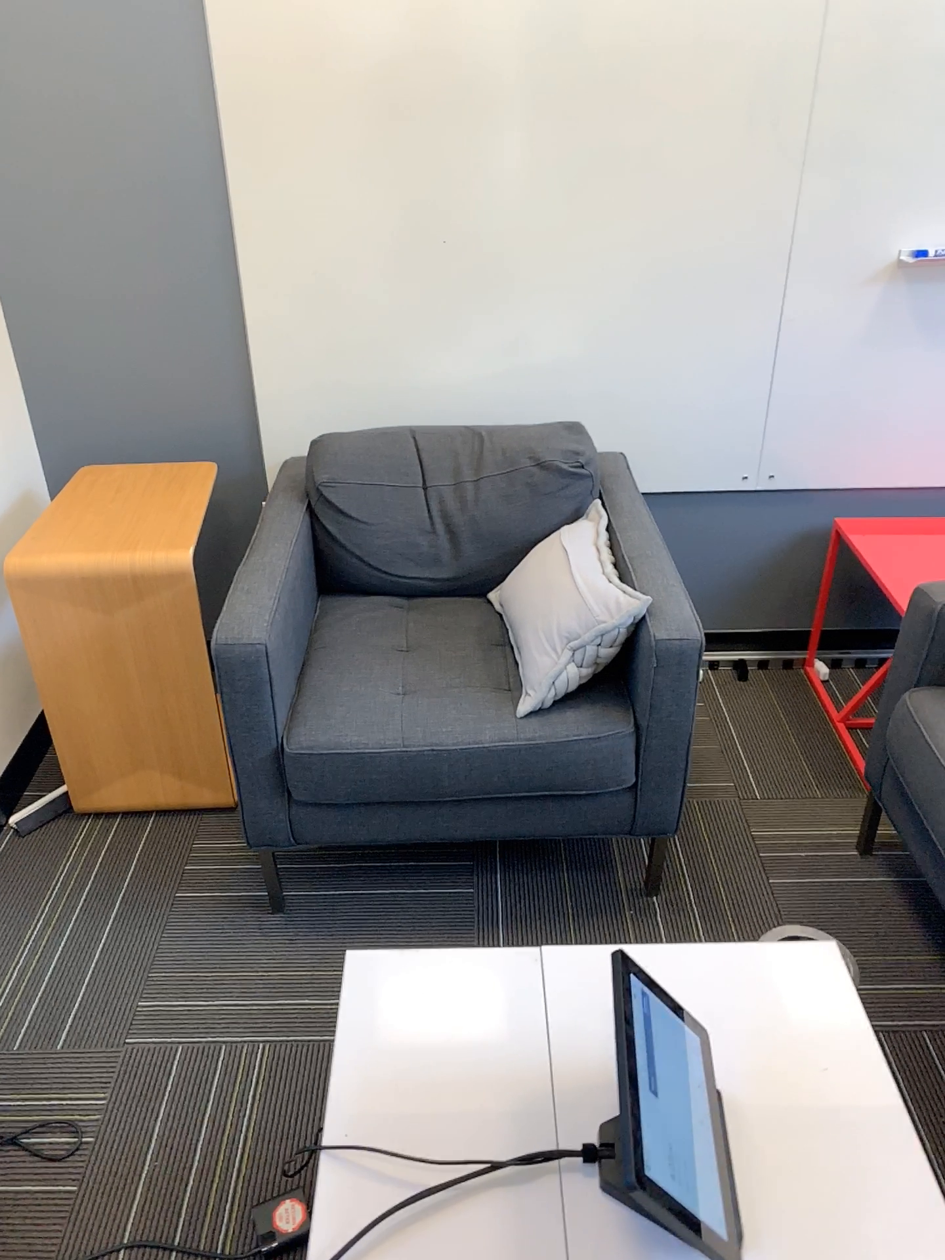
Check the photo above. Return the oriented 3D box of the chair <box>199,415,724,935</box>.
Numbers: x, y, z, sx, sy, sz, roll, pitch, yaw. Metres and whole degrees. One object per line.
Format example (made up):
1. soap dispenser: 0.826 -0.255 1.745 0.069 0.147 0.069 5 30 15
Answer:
1. chair: -0.030 0.038 2.133 0.840 0.716 0.946 -1 31 -2
